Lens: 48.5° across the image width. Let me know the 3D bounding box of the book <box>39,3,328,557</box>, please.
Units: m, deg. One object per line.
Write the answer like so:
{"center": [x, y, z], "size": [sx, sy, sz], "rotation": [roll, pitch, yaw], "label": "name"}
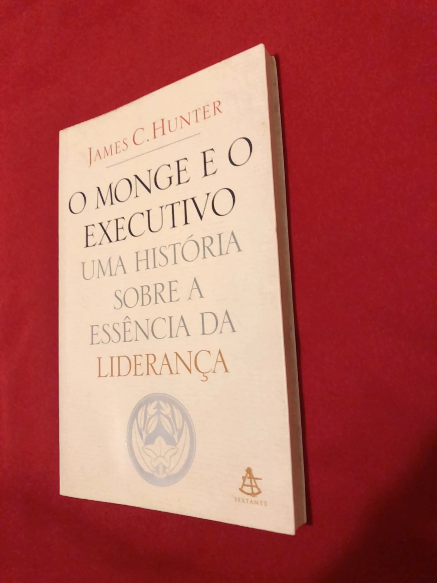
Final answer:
{"center": [-0.026, -0.006, 0.238], "size": [0.140, 0.030, 0.220], "rotation": [-7, 80, 31], "label": "book"}
